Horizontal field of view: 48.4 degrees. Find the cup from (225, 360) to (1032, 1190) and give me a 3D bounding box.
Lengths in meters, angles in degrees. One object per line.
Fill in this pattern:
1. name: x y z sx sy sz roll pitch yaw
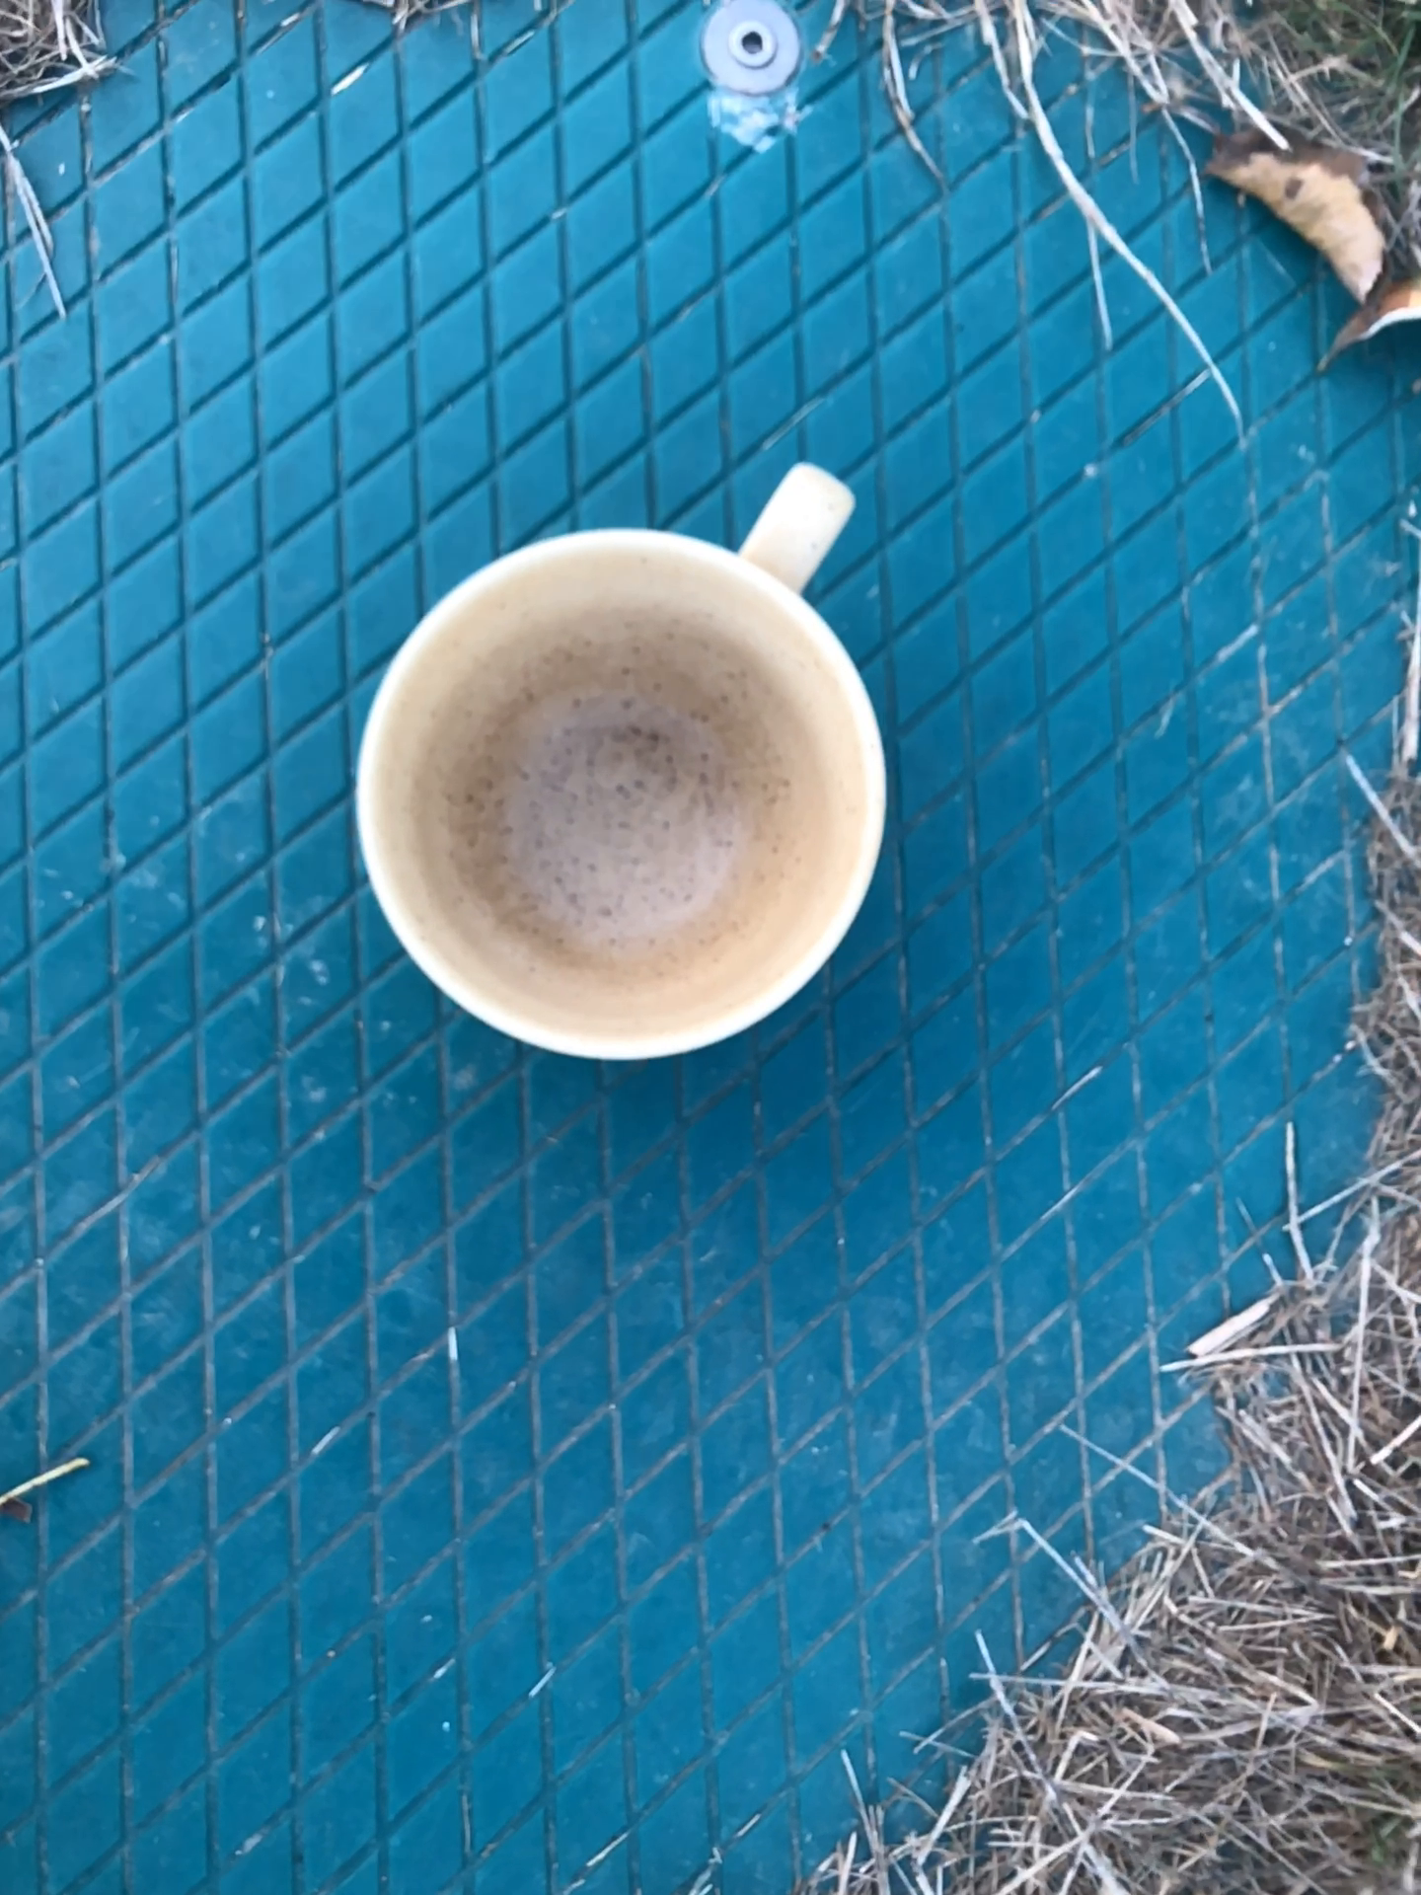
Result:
1. cup: -0.018 -0.037 0.382 0.124 0.065 0.142 31 84 -3
